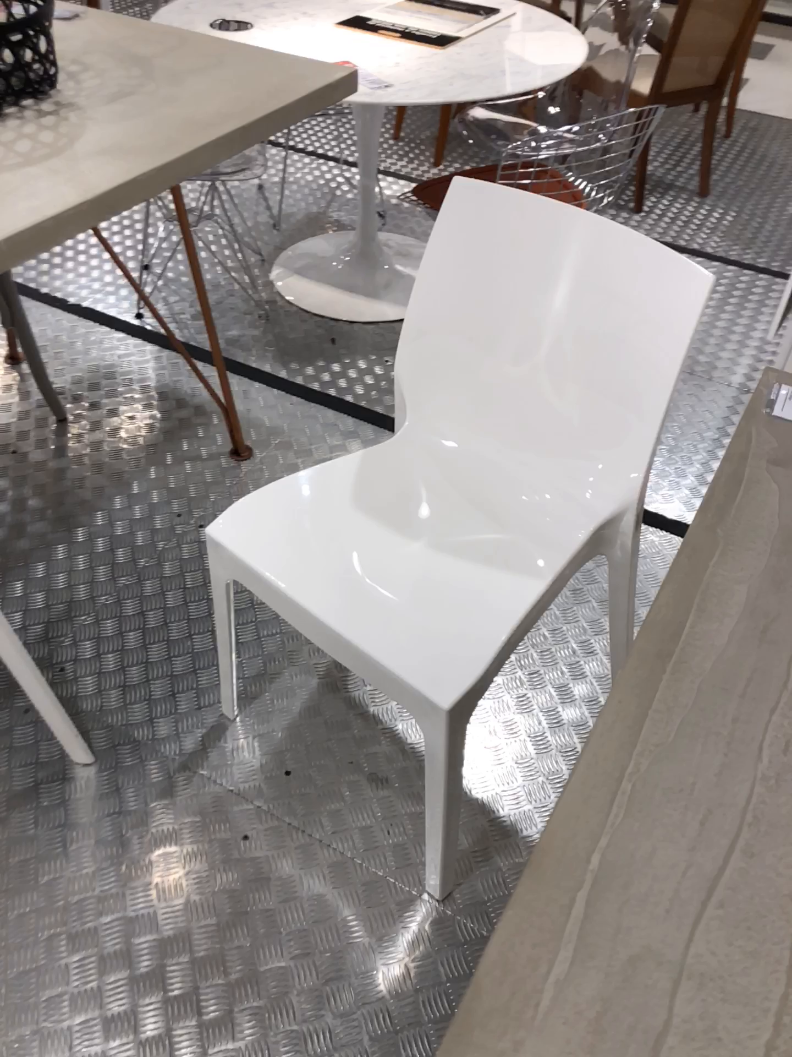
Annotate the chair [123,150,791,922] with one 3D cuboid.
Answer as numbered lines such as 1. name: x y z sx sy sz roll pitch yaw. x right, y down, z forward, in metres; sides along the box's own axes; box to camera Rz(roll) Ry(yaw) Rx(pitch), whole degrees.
1. chair: 0.071 0.007 1.210 0.521 0.764 0.543 32 51 27
